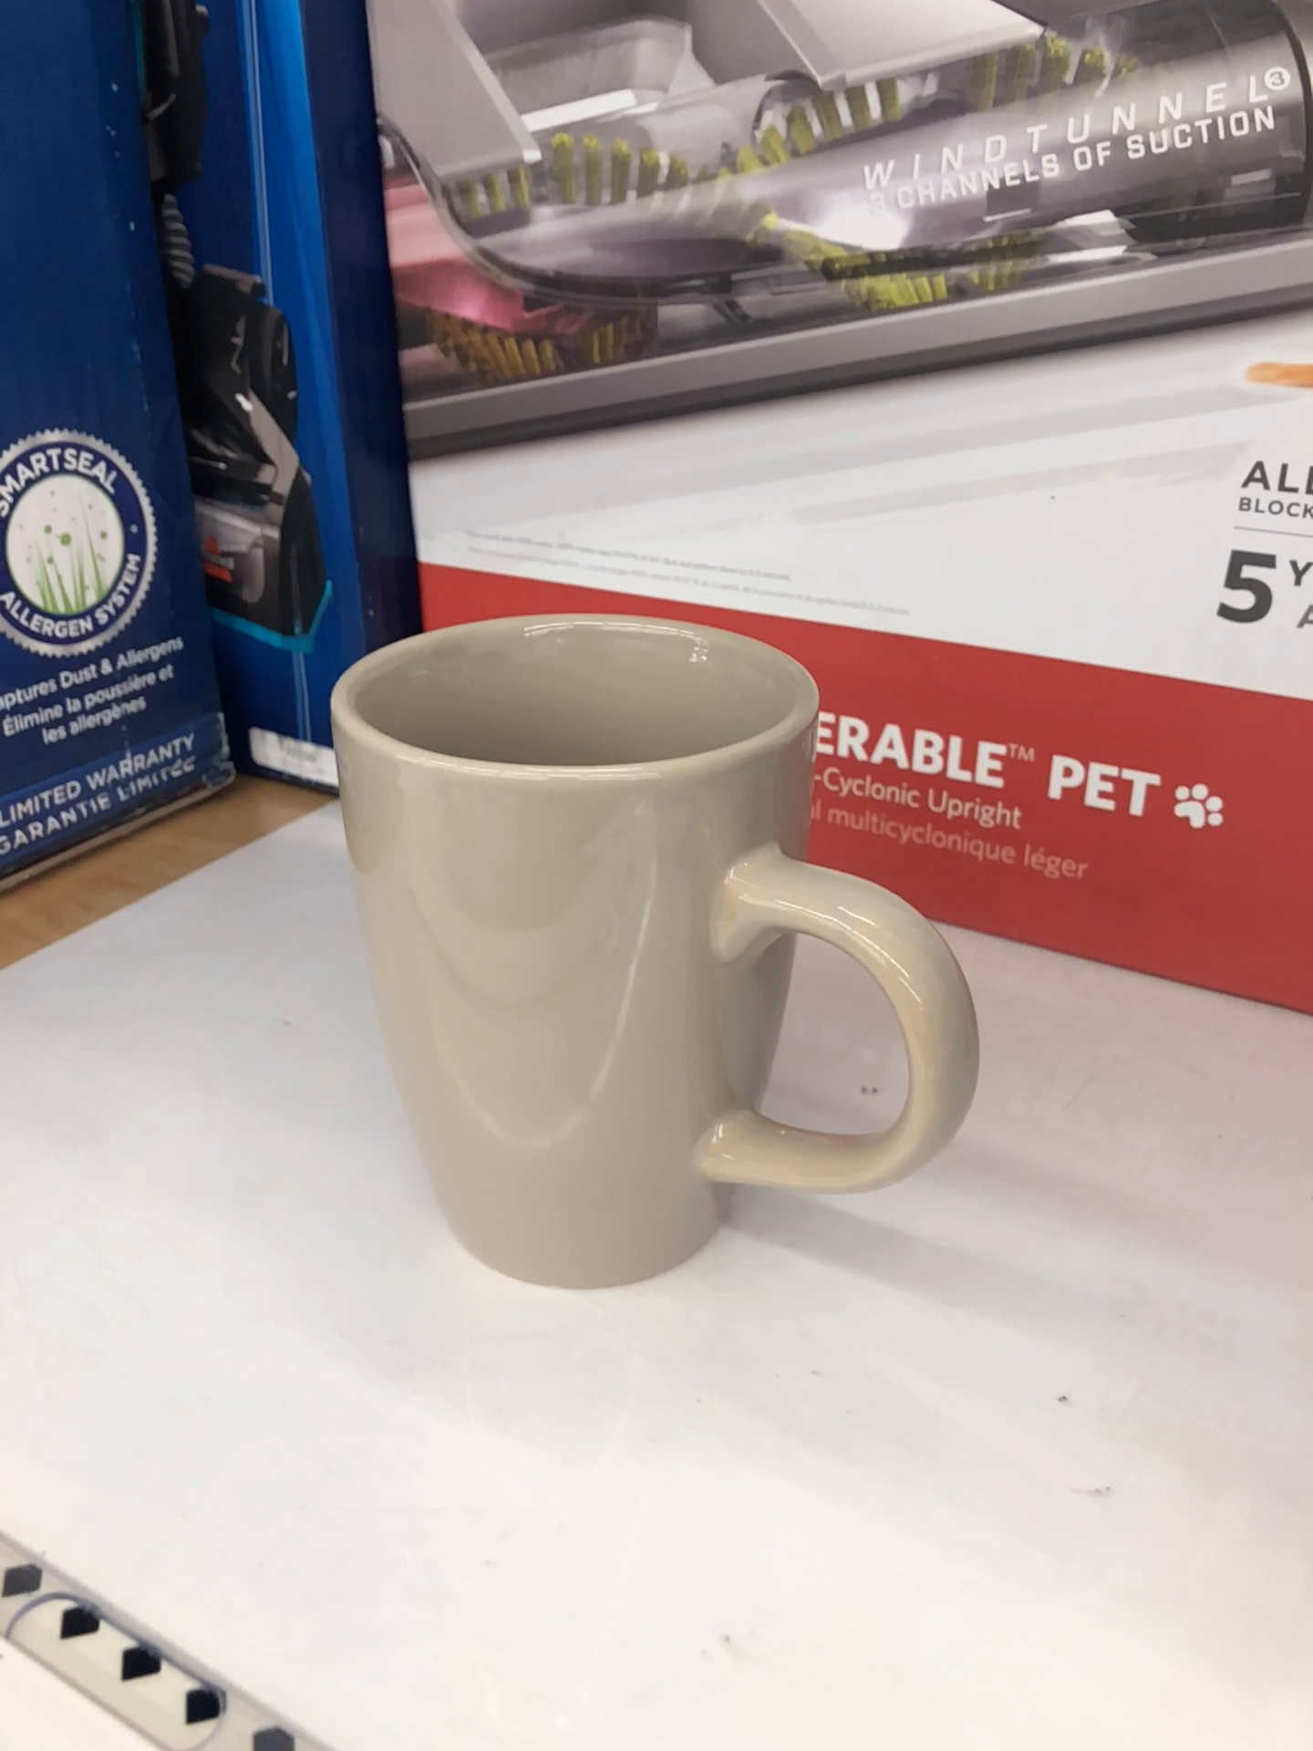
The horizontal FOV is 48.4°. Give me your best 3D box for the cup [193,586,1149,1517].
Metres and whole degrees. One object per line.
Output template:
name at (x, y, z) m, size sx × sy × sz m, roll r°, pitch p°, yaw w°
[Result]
cup at (0.000, 0.016, 0.253) m, size 0.126 × 0.092 × 0.088 m, roll 21°, pitch 33°, yaw 36°
